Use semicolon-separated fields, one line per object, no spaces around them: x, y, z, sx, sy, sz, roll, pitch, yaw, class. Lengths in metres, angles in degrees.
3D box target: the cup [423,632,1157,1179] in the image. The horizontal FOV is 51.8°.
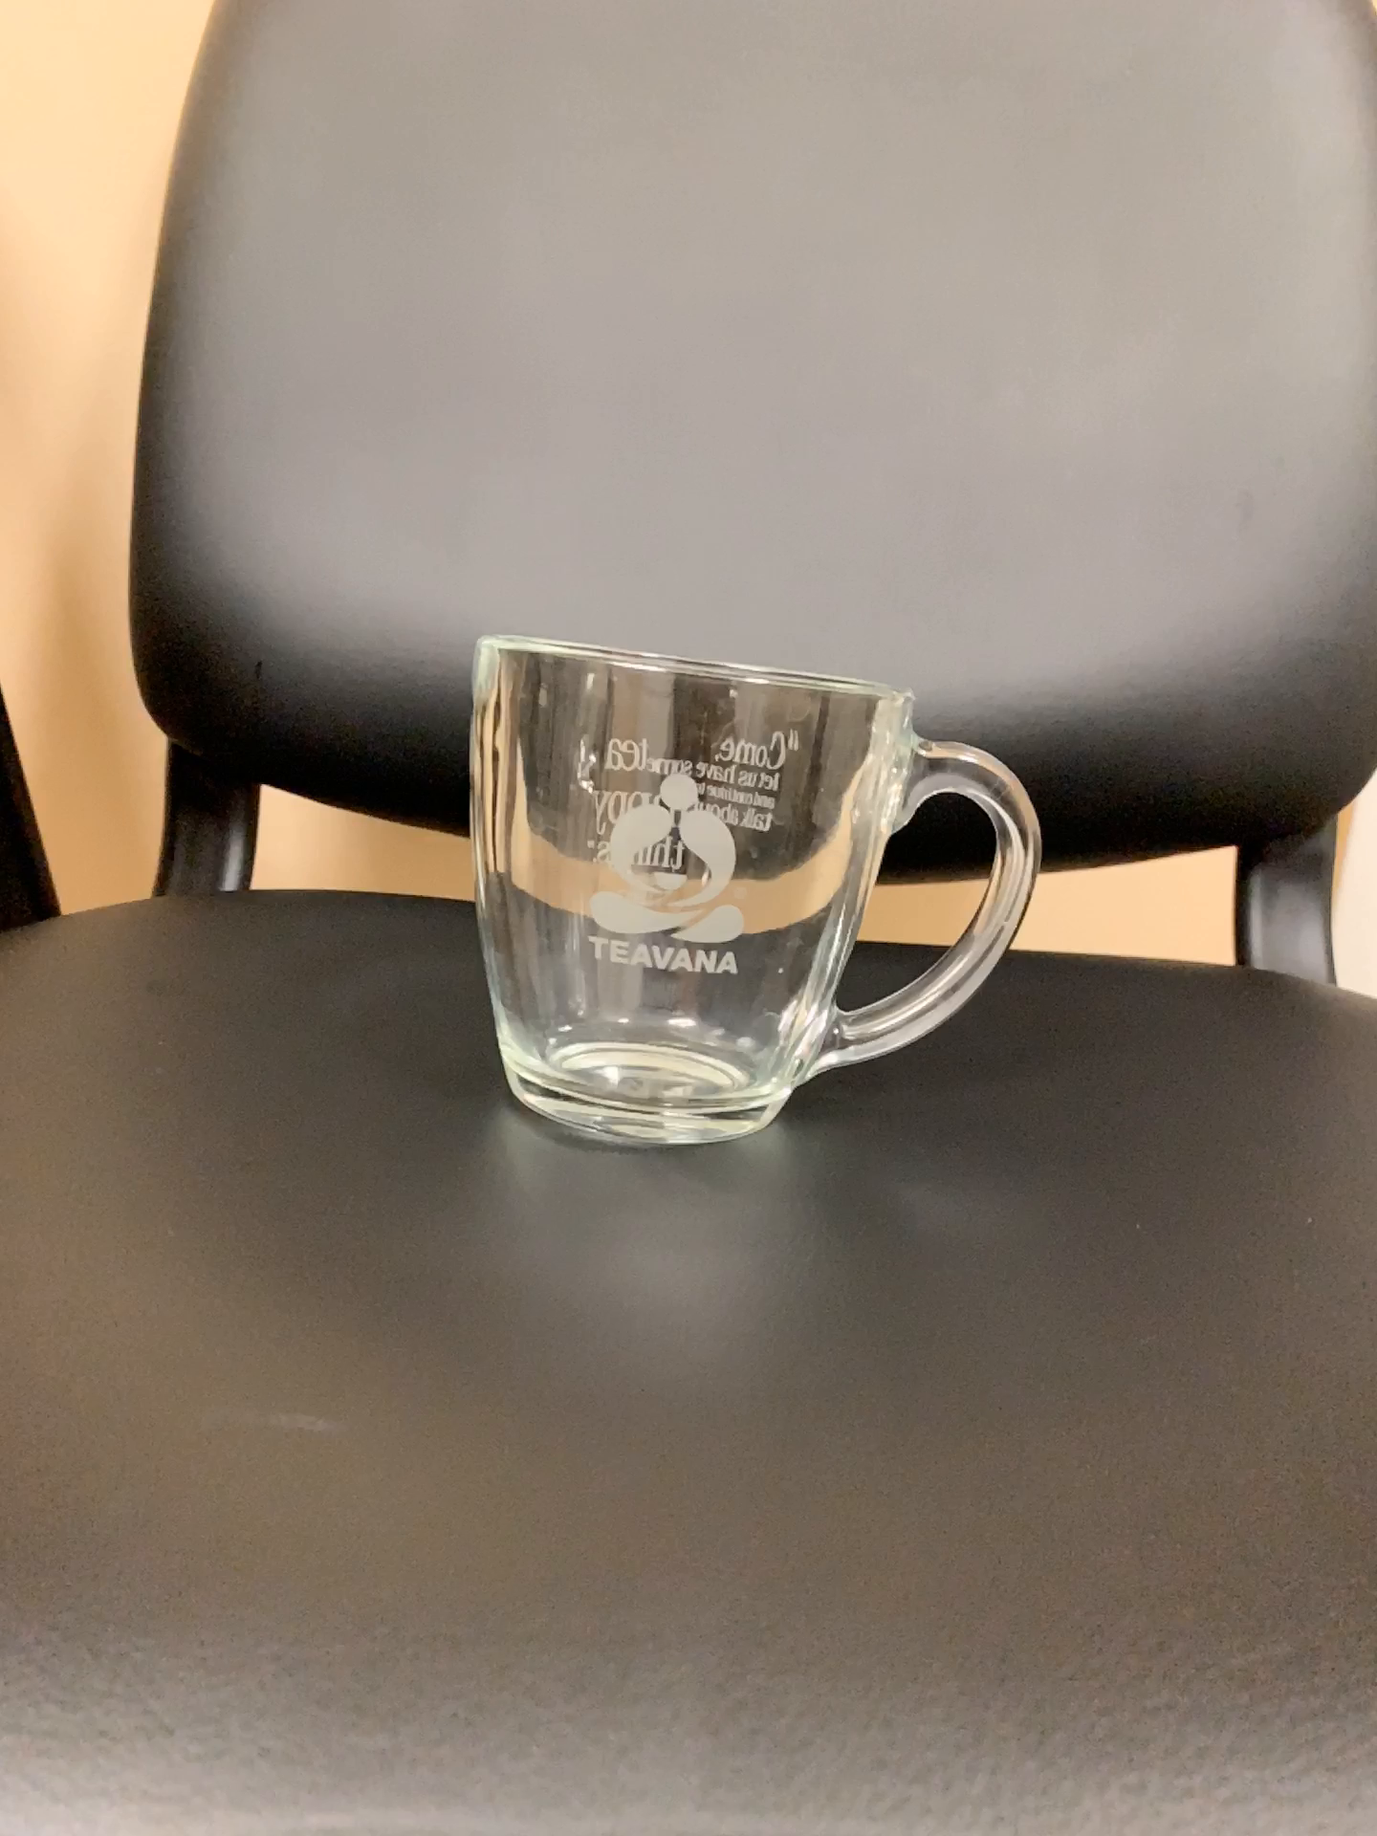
0.016;-0.009;0.335;0.139;0.100;0.096;5;10;-7;cup
